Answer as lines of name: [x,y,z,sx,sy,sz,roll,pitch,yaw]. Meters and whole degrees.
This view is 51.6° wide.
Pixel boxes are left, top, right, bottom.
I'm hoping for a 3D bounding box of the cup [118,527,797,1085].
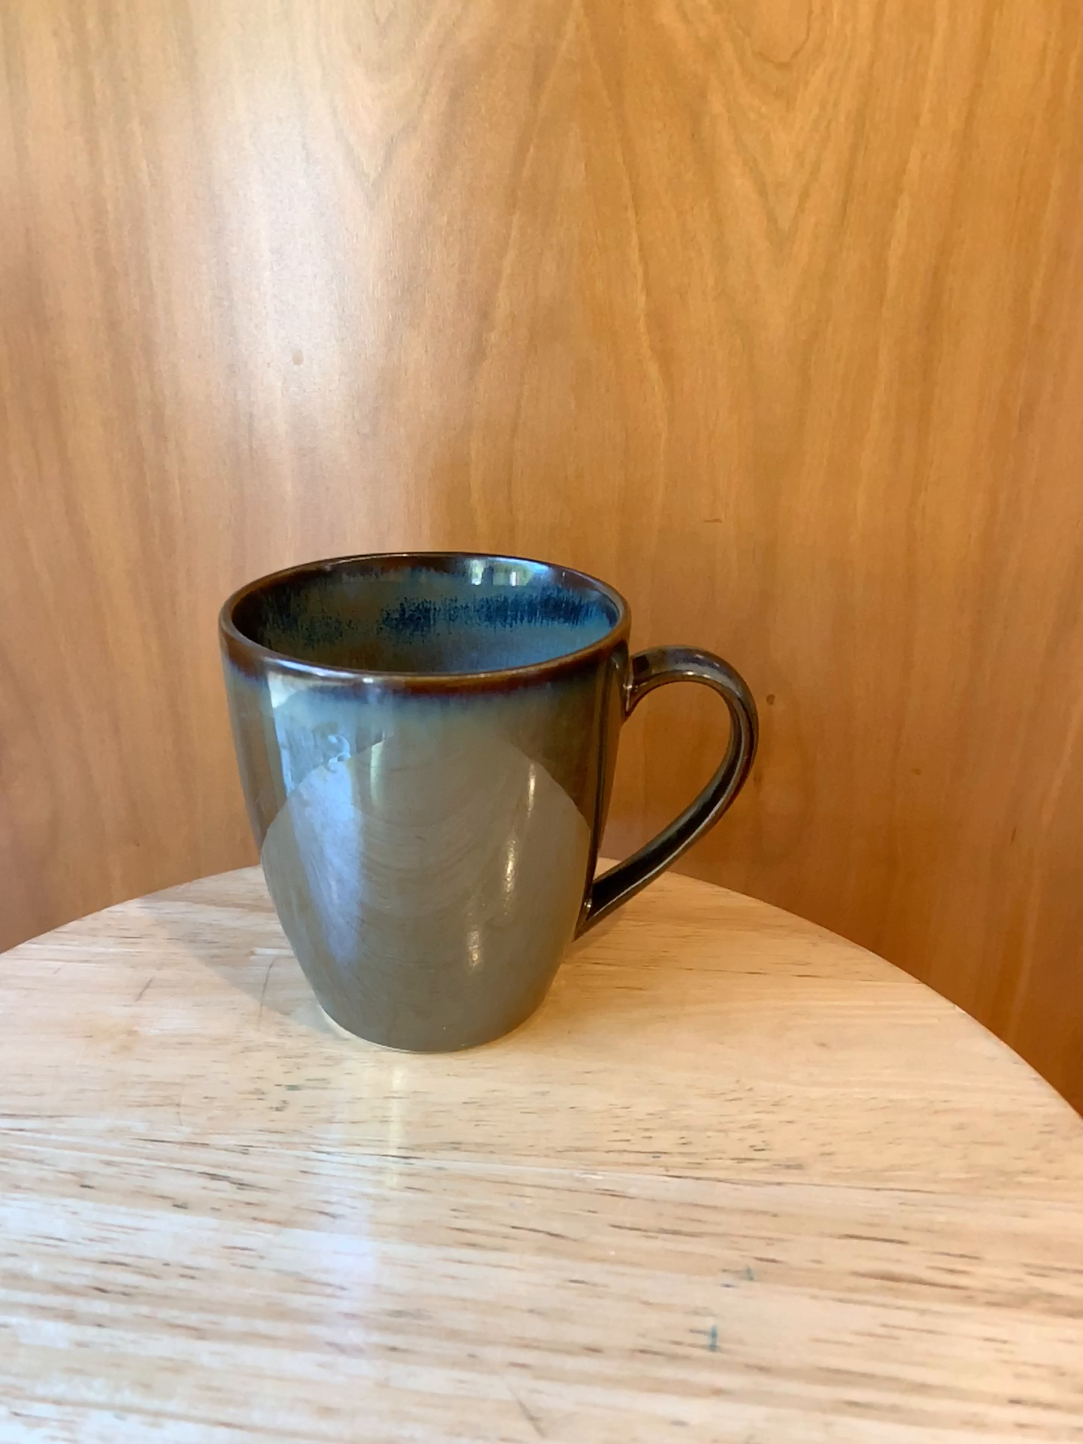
cup: [-0.013,0.013,0.250,0.120,0.090,0.080,3,23,4]
